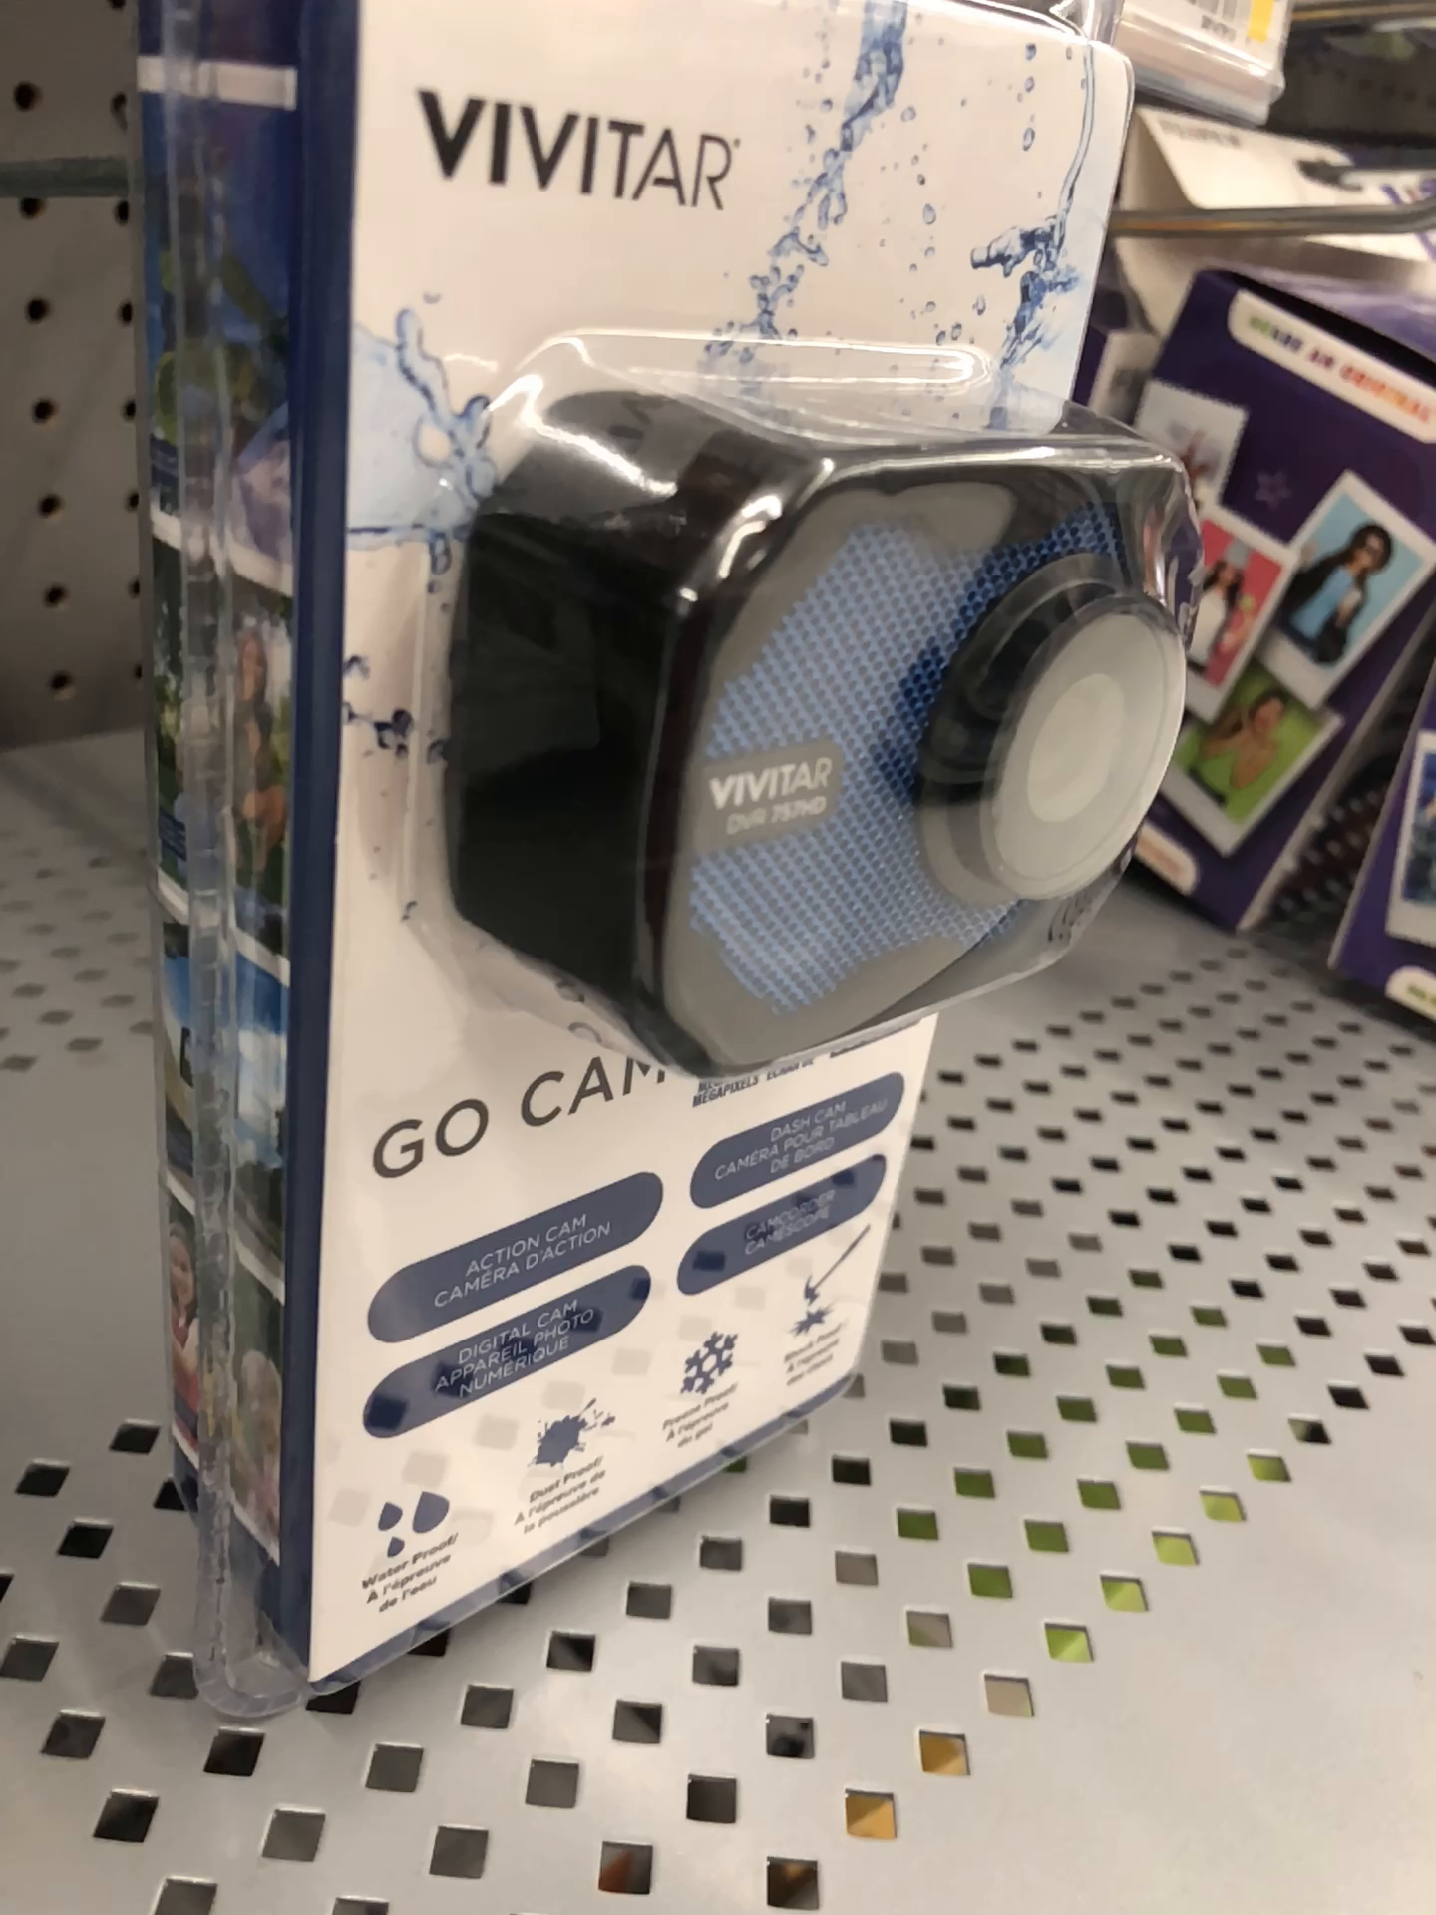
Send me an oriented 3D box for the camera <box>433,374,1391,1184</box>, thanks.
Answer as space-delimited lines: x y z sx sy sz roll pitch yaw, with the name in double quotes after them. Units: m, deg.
0.017 -0.022 0.143 0.070 0.050 0.040 -17 35 -39 "camera"
